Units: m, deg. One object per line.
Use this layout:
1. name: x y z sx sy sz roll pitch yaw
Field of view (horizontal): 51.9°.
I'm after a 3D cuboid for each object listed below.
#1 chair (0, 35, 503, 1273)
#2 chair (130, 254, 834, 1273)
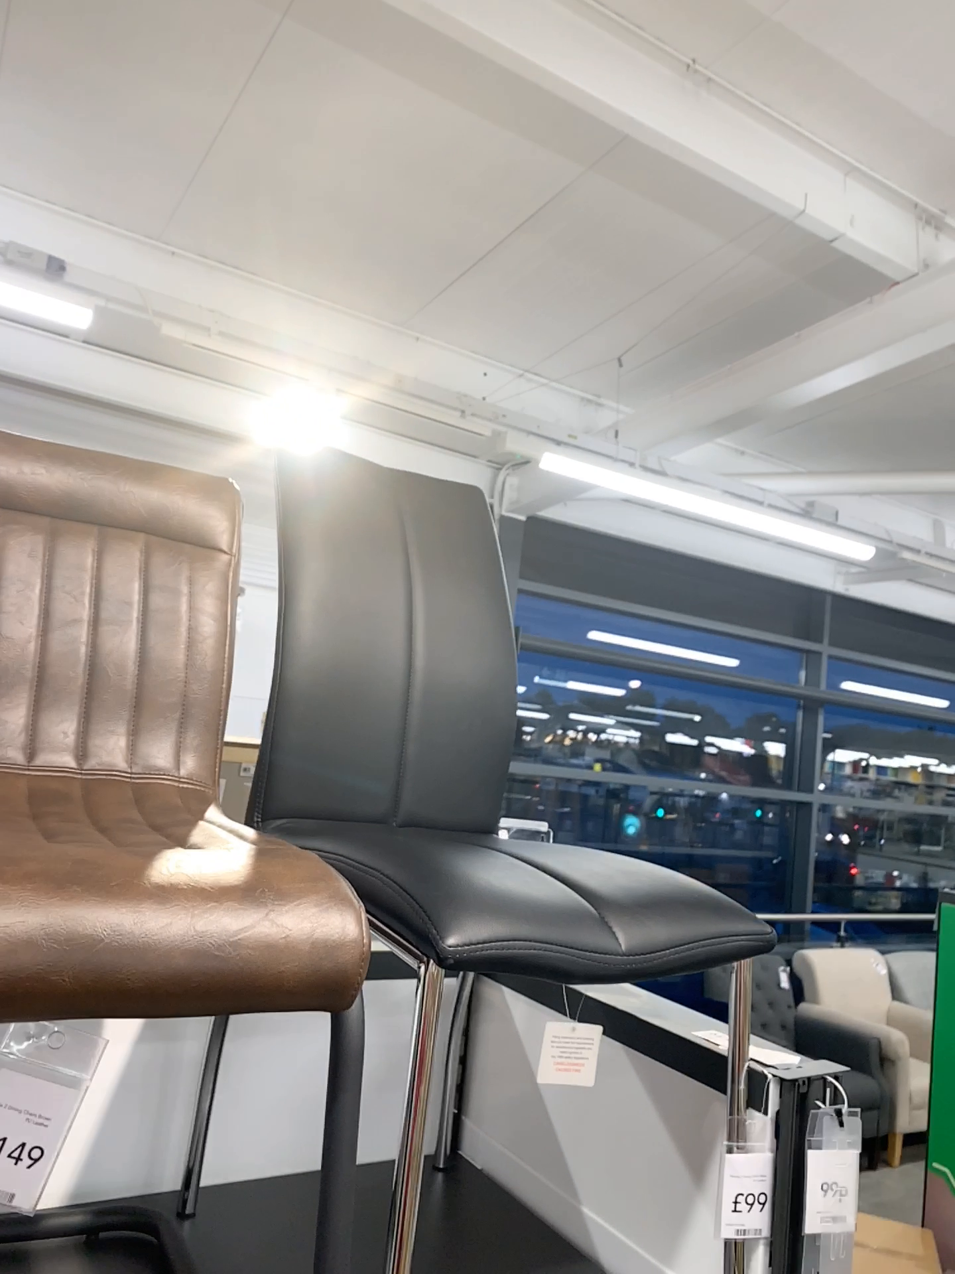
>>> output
1. chair: -0.413 0.167 0.853 0.553 0.886 0.583 11 -8 -29
2. chair: -0.013 0.205 1.152 0.473 0.997 0.583 11 -9 -32
